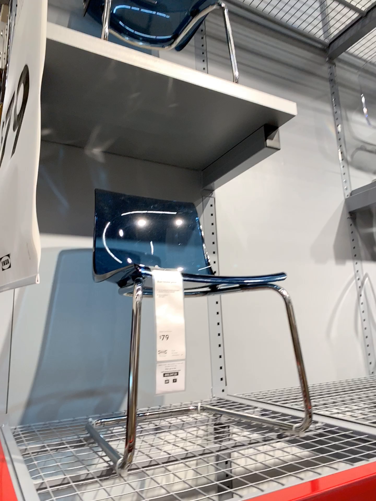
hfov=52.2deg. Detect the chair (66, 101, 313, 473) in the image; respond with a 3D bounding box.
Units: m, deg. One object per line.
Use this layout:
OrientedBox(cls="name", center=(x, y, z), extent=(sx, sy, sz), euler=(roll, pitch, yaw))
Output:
OrientedBox(cls="chair", center=(-0.049, 0.109, 1.222), extent=(0.529, 0.843, 0.549), euler=(4, -14, -27))
